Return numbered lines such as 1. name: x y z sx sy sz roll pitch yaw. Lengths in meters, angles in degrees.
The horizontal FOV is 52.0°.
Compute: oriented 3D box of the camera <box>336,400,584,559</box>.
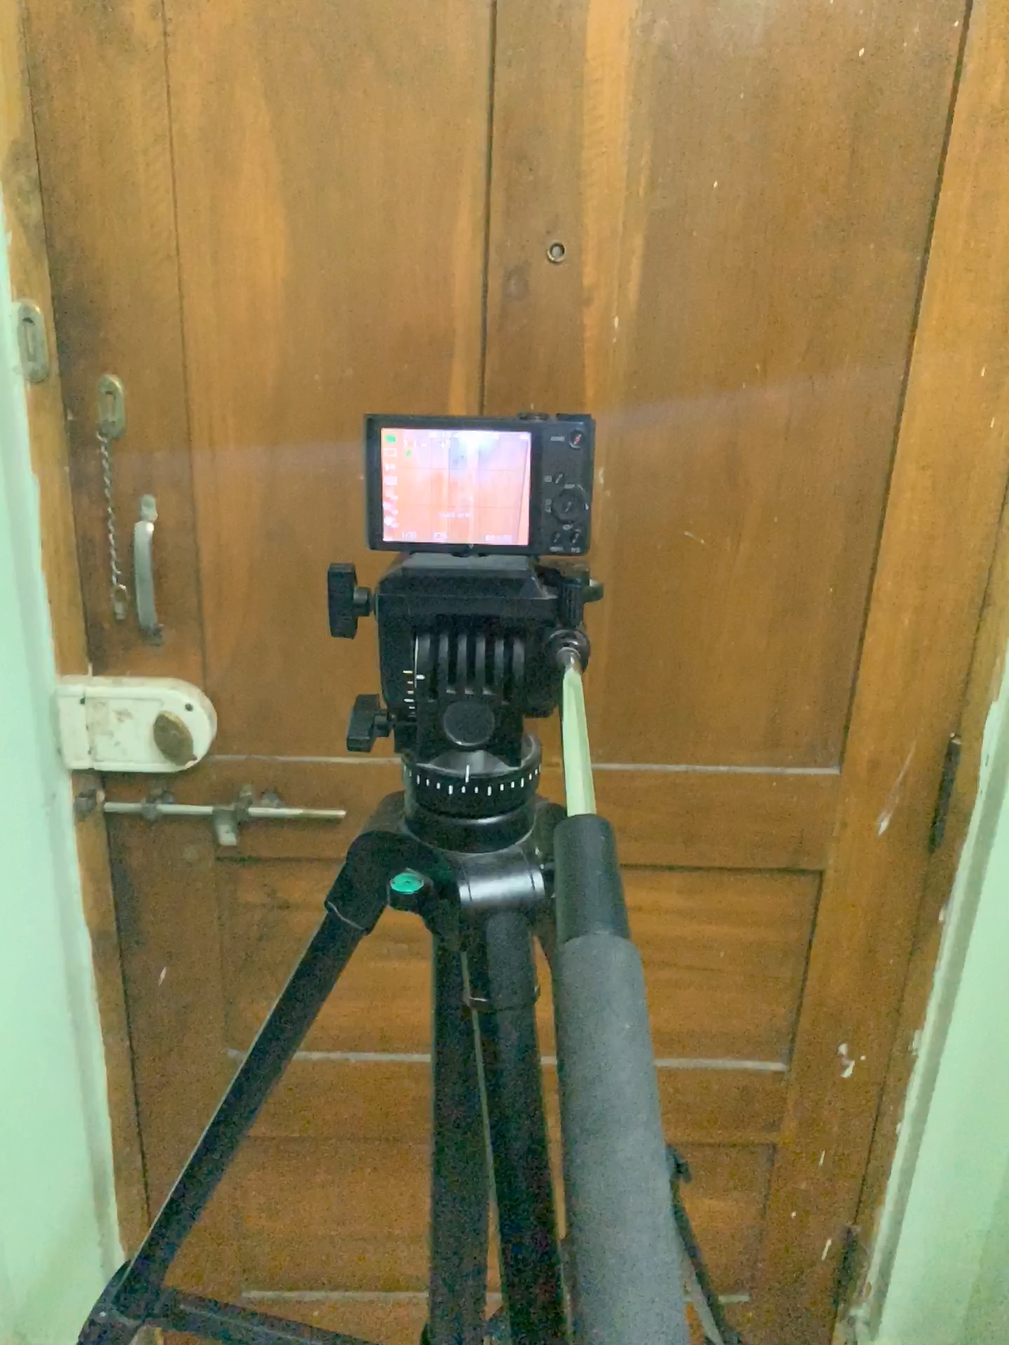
1. camera: -0.019 -0.084 0.443 0.100 0.060 0.040 3 14 1
